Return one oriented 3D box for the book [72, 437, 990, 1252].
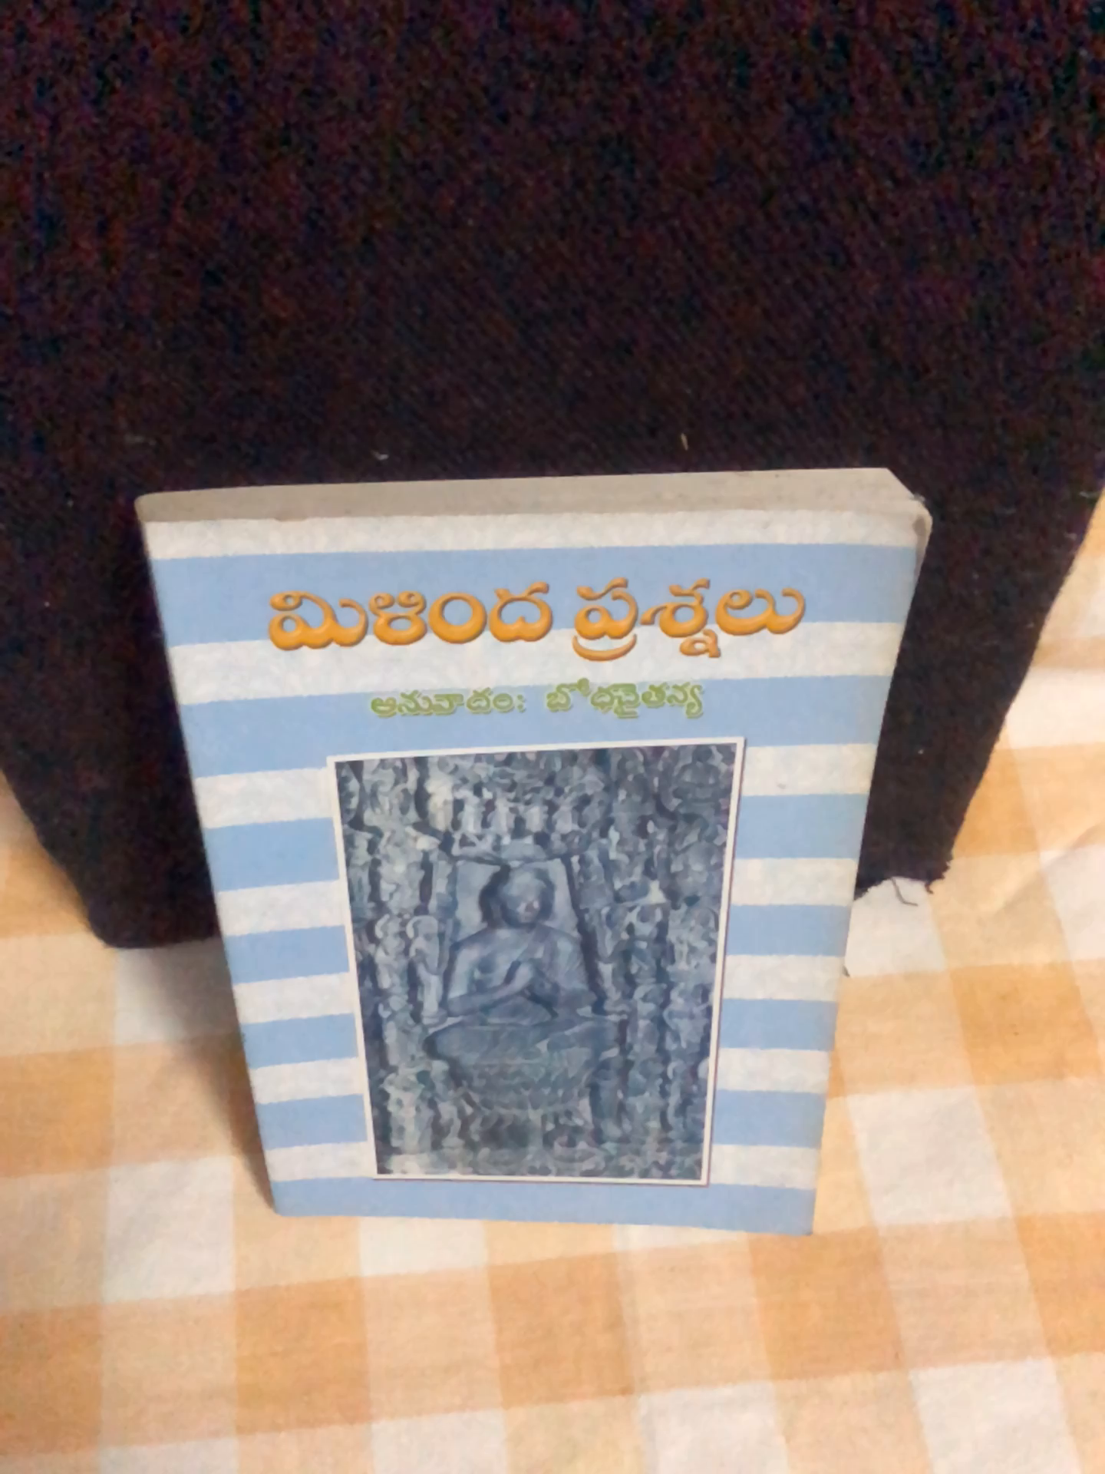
[{"bbox_3d":[-0.005,0.039,0.283,0.160,0.210,0.030,1,33,1],"label":"book"}]
